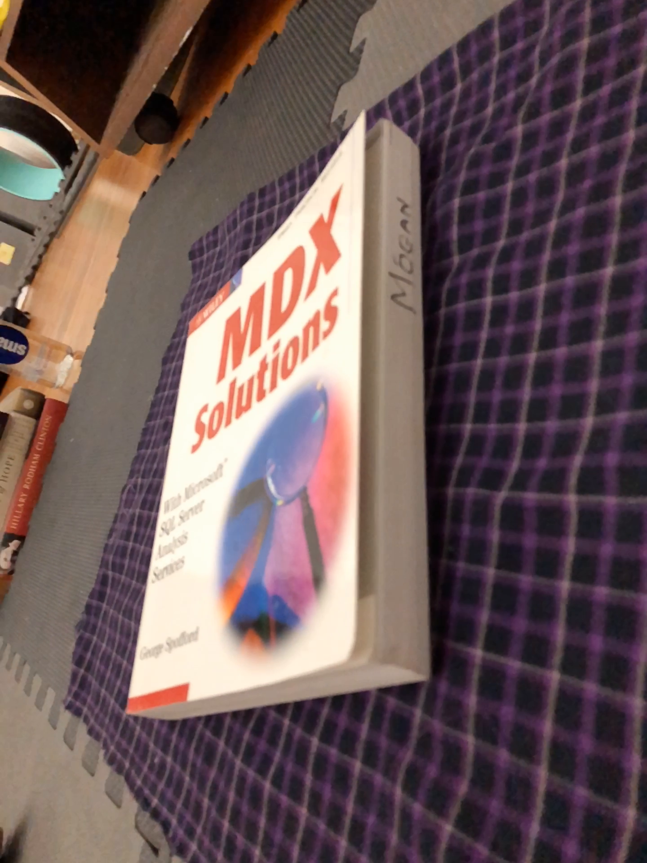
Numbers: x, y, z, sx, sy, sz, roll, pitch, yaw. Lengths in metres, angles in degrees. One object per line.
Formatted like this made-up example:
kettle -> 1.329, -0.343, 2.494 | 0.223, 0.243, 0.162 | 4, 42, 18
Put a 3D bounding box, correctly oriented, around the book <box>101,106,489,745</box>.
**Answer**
book -> -0.022, 0.009, 0.359 | 0.221, 0.050, 0.261 | -33, 43, 47
